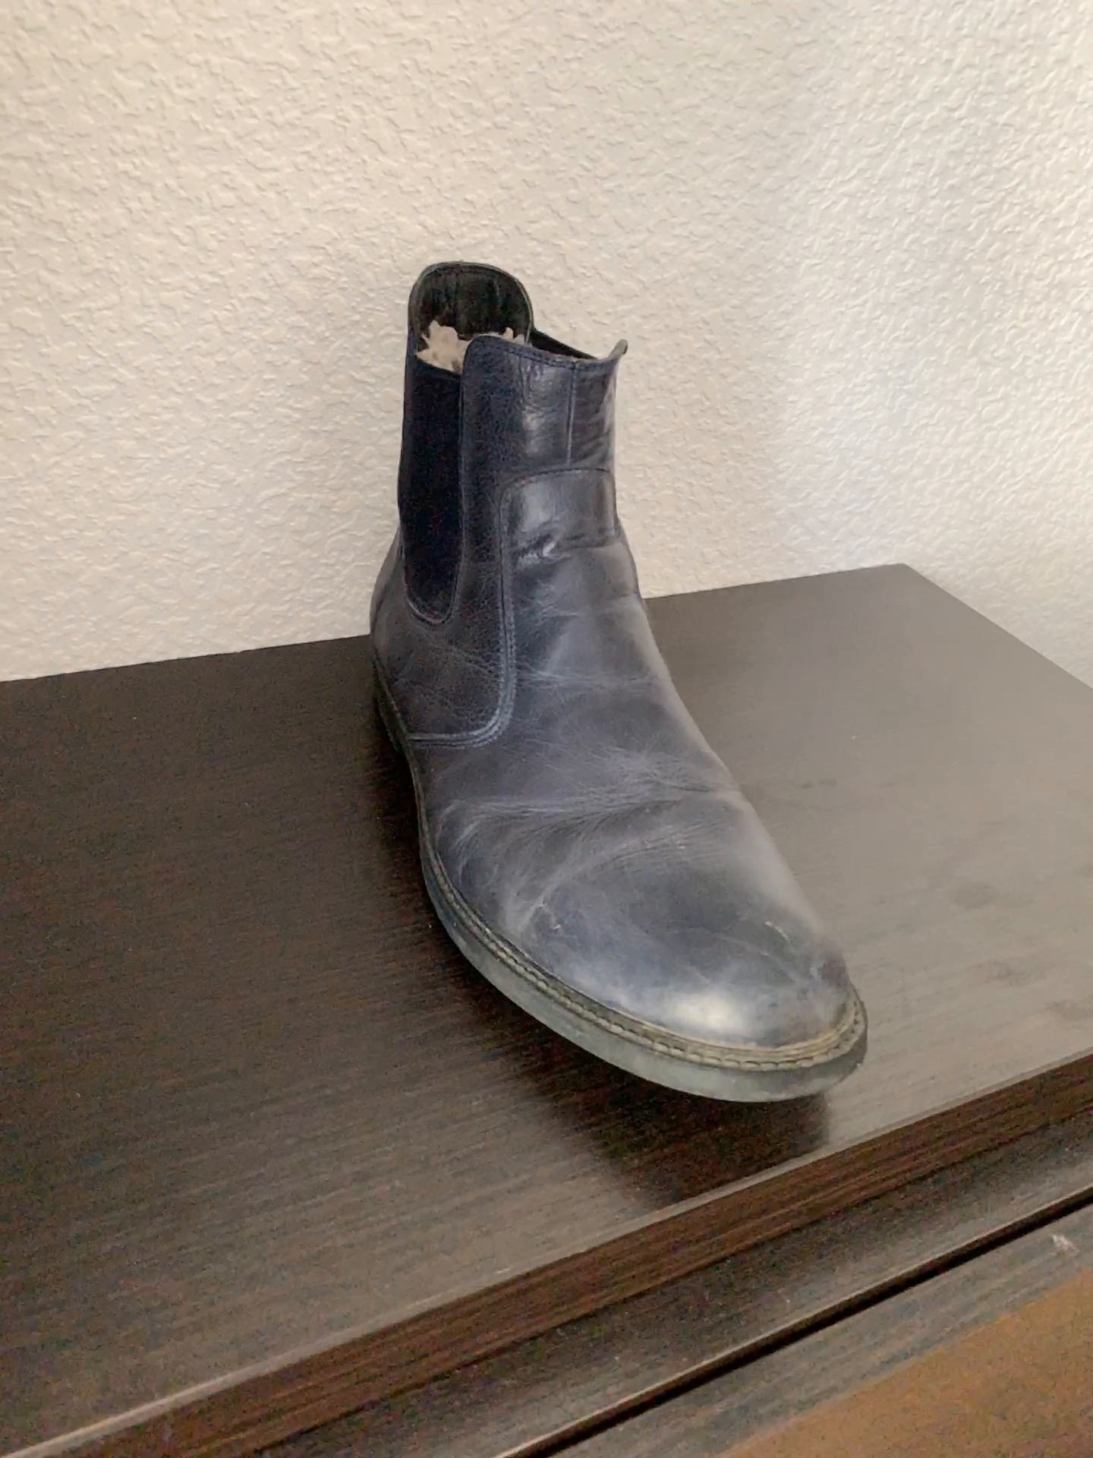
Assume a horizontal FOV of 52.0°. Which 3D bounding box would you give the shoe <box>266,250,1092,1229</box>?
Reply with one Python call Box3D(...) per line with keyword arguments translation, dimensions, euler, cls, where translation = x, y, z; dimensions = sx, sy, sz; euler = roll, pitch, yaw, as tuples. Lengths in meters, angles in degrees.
Box3D(translation=(0.001, -0.035, 0.360), dimensions=(0.110, 0.159, 0.301), euler=(-9, 36, -23), cls="shoe")
